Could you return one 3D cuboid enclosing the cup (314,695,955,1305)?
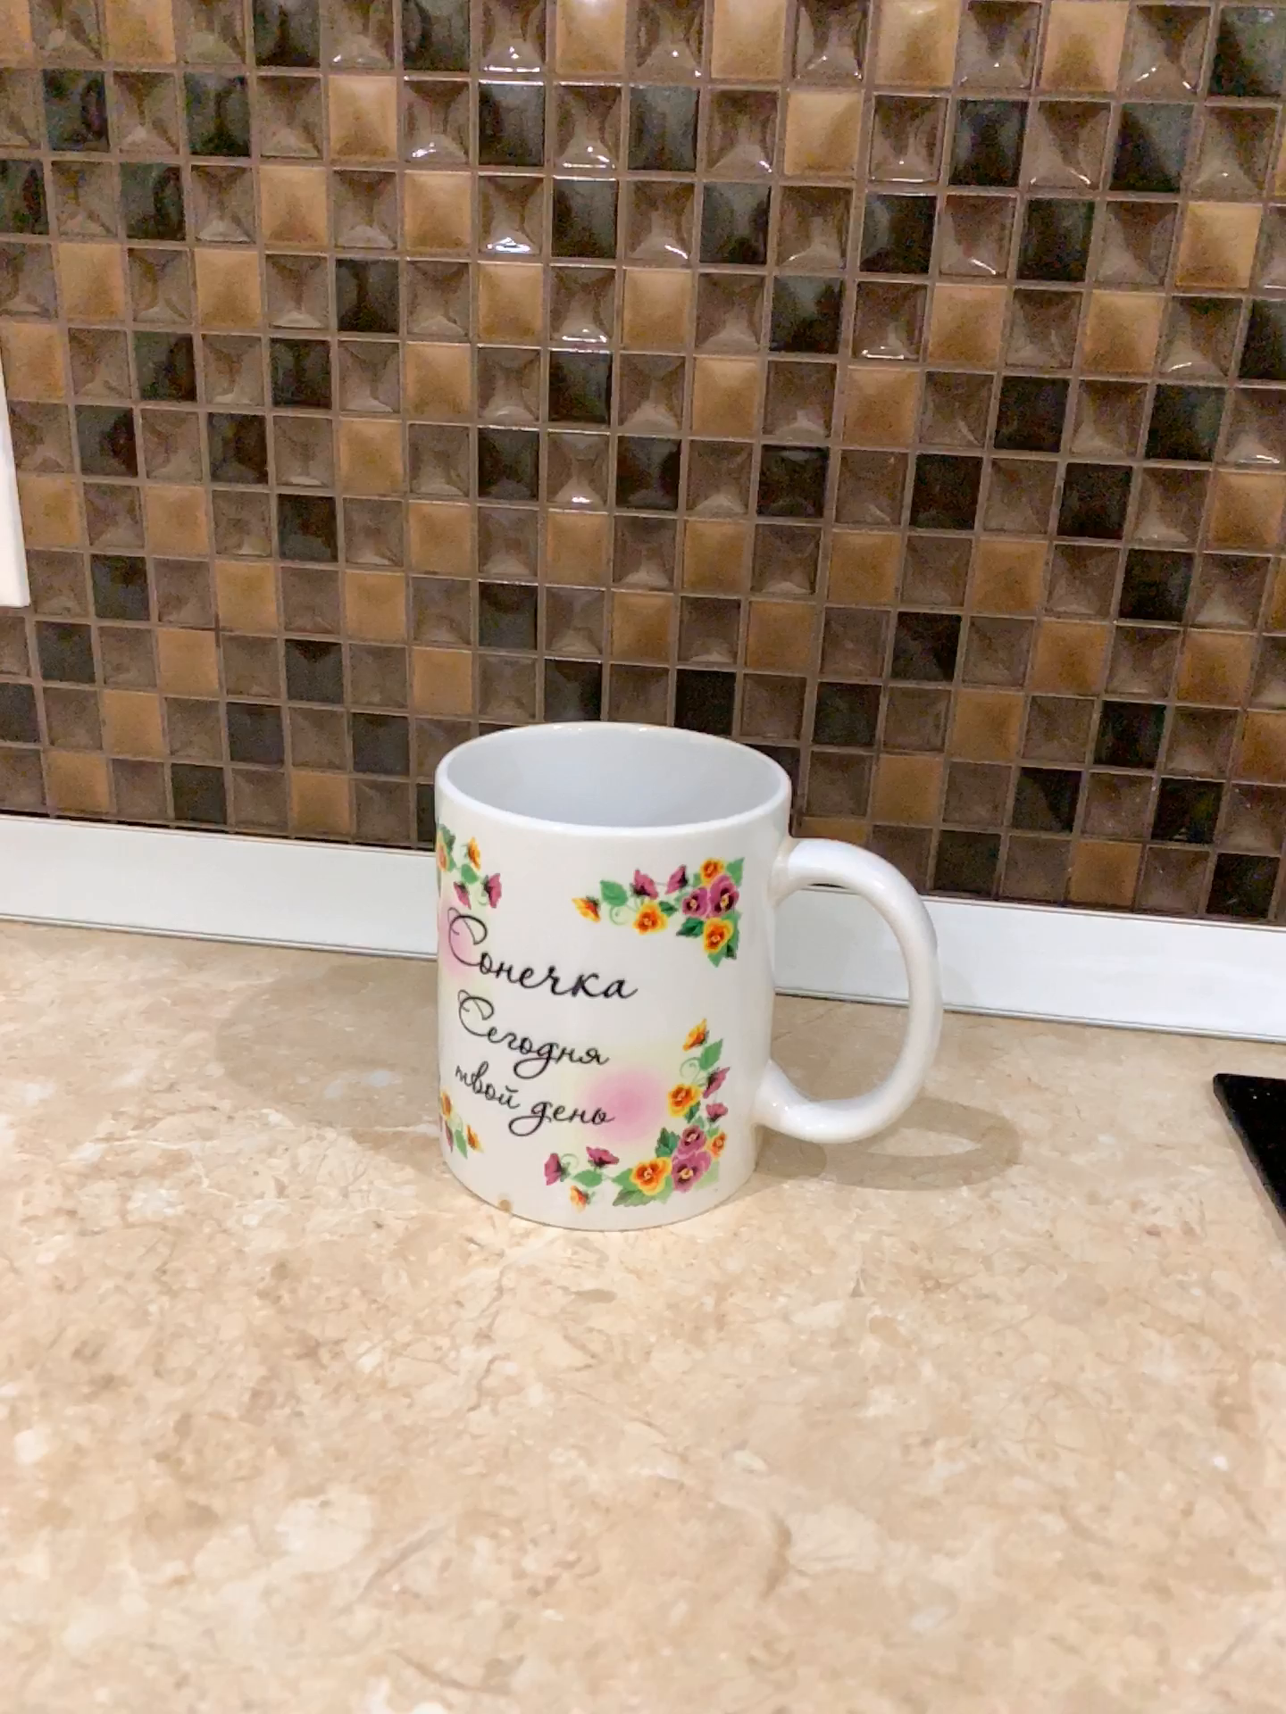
[{"bbox_3d":[0.003,0.025,0.306,0.123,0.093,0.091,7,22,10],"label":"cup"}]
